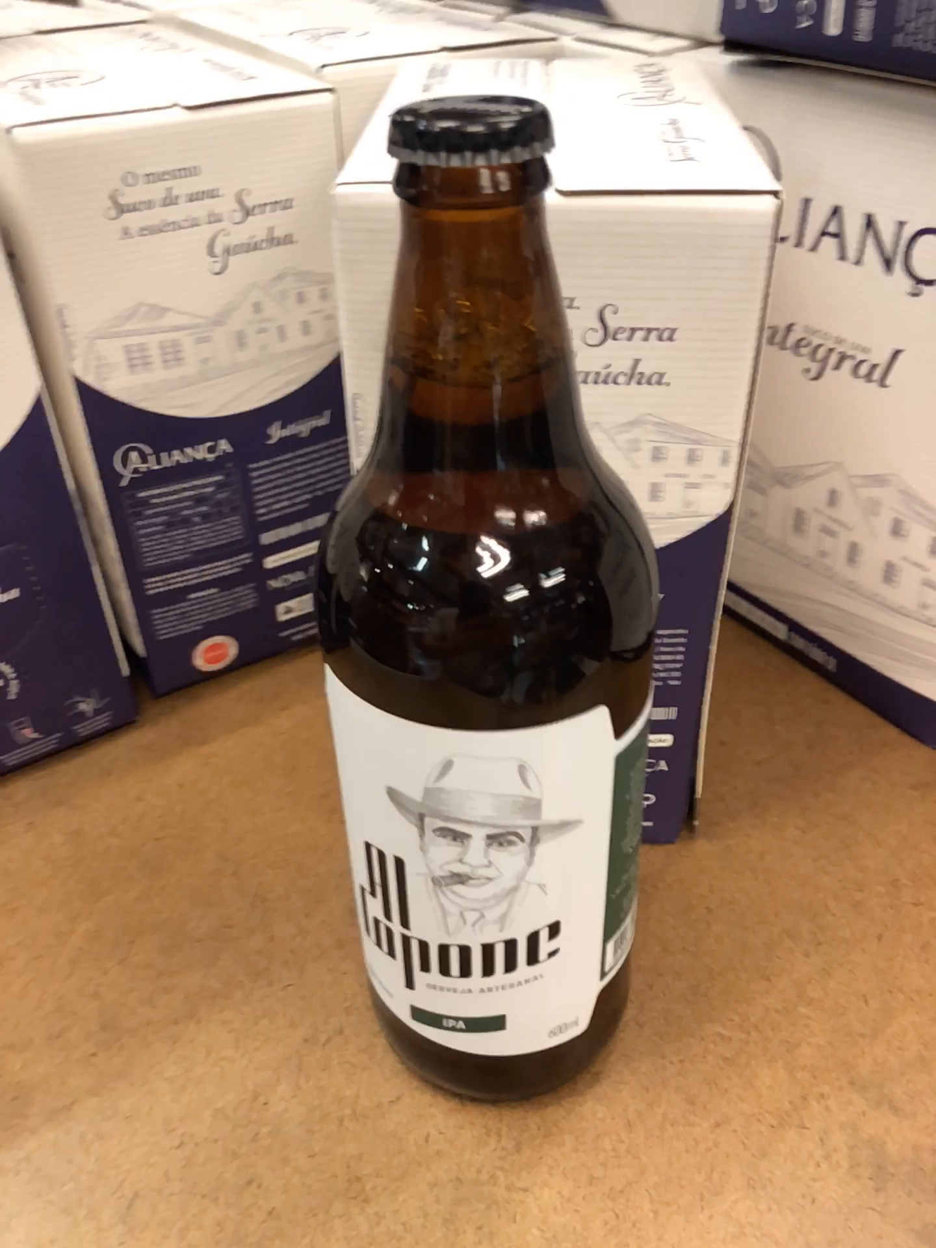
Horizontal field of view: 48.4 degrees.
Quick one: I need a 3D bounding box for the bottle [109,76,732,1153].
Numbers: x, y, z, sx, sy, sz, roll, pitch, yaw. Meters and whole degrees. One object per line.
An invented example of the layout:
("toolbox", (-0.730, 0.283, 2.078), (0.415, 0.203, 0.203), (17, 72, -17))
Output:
("bottle", (0.001, 0.013, 0.229), (0.080, 0.228, 0.070), (8, 37, 14))
